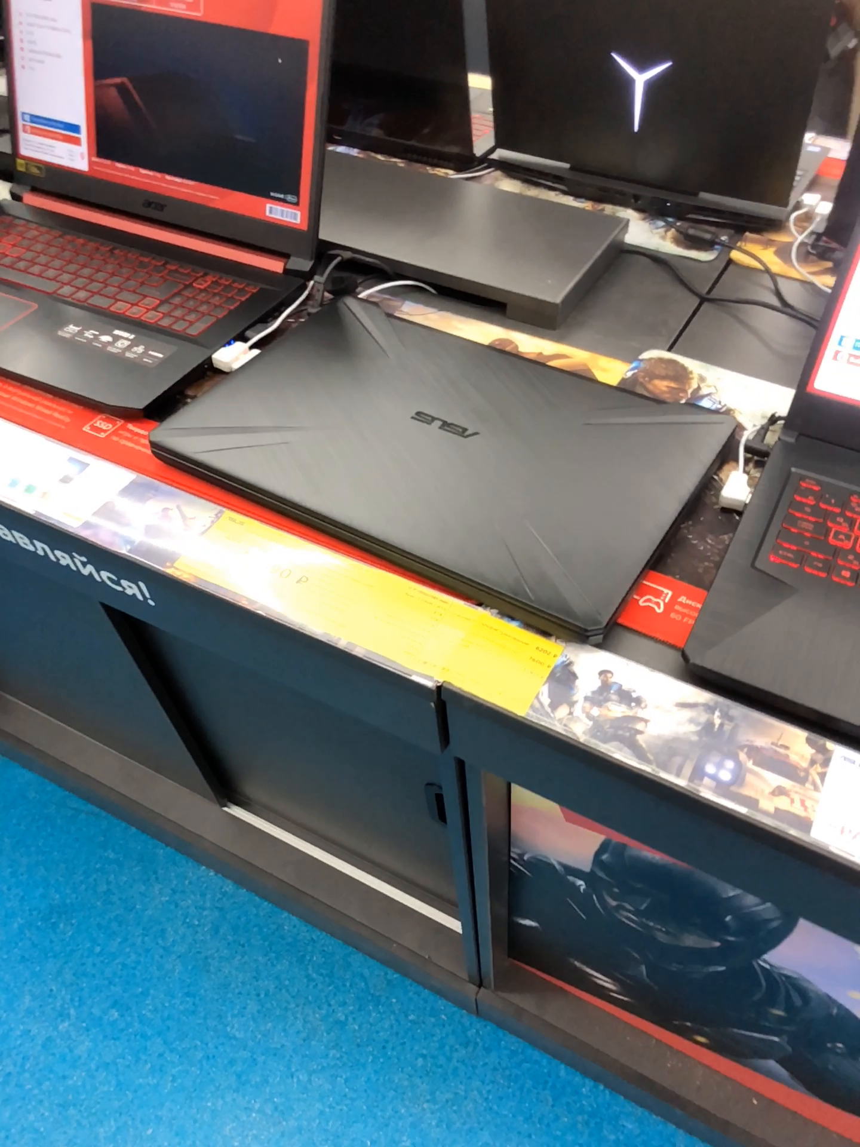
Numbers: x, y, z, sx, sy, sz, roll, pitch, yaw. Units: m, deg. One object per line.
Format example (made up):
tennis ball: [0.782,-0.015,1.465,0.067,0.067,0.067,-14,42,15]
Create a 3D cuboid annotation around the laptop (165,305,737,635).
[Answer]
laptop: [0.018,-0.110,0.758,0.386,0.001,0.262,24,49,23]
